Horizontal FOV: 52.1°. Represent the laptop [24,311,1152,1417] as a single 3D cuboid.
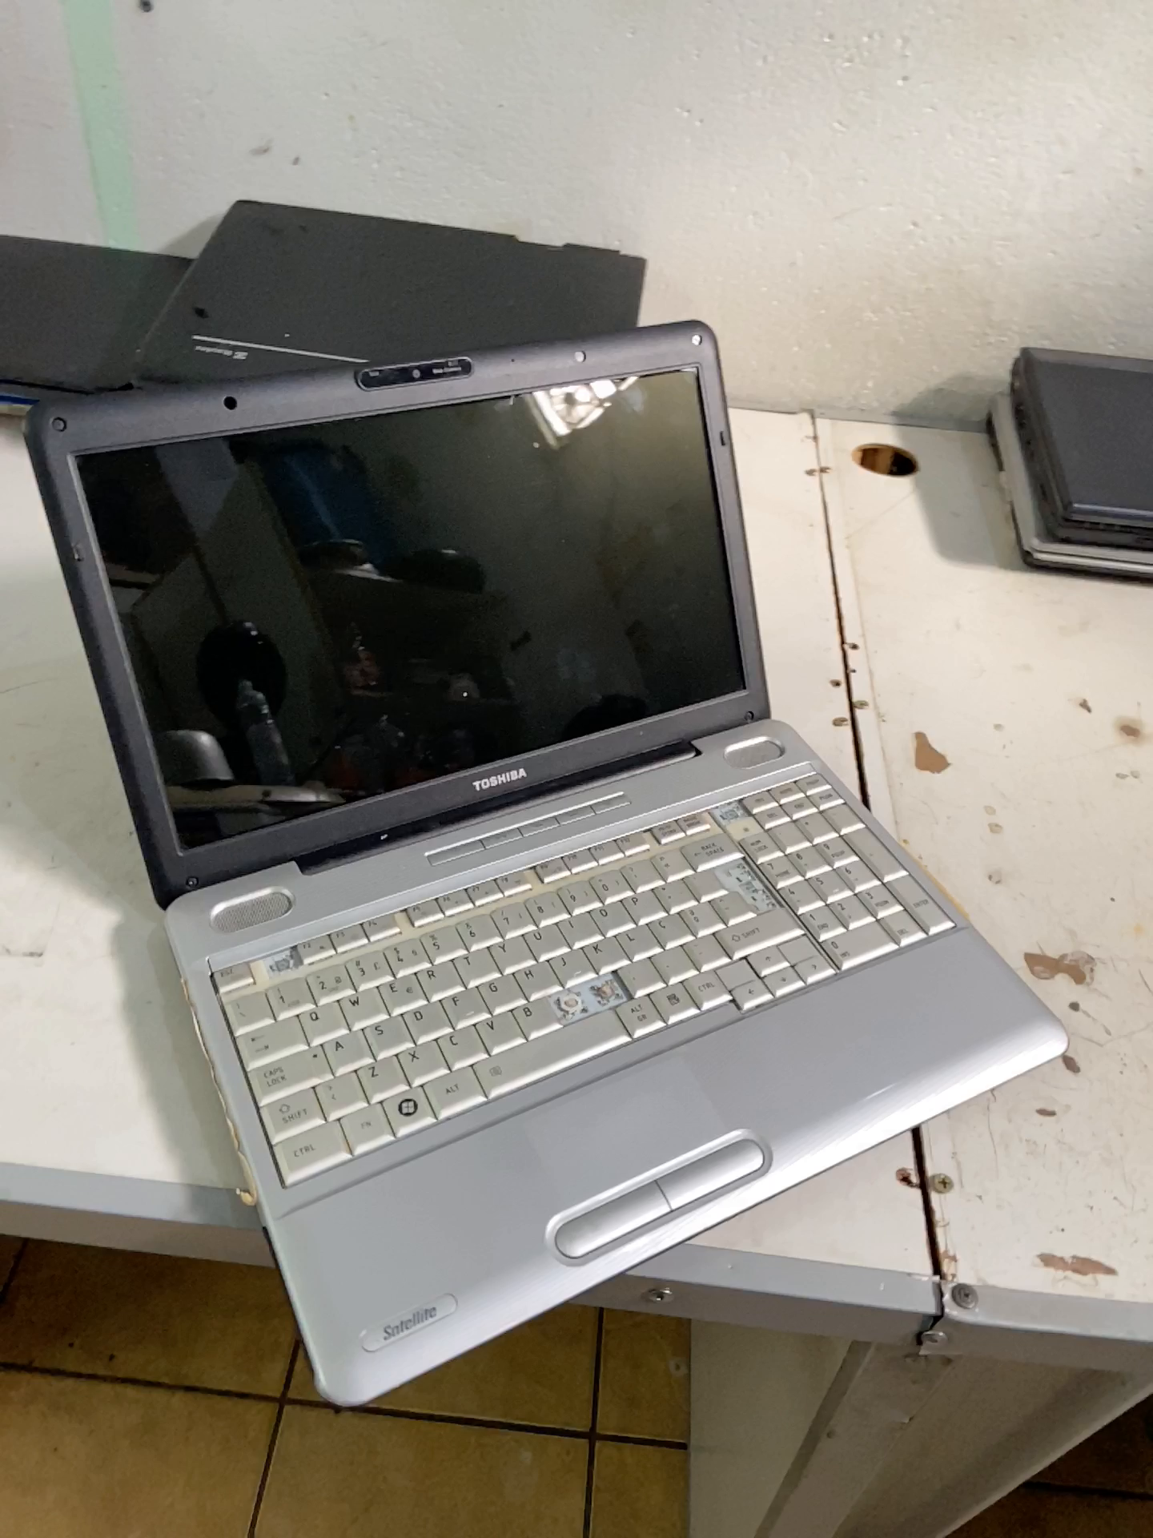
[{"bbox_3d":[-0.007,-0.016,0.553,0.371,0.190,0.400,-16,48,-23],"label":"laptop"}]
